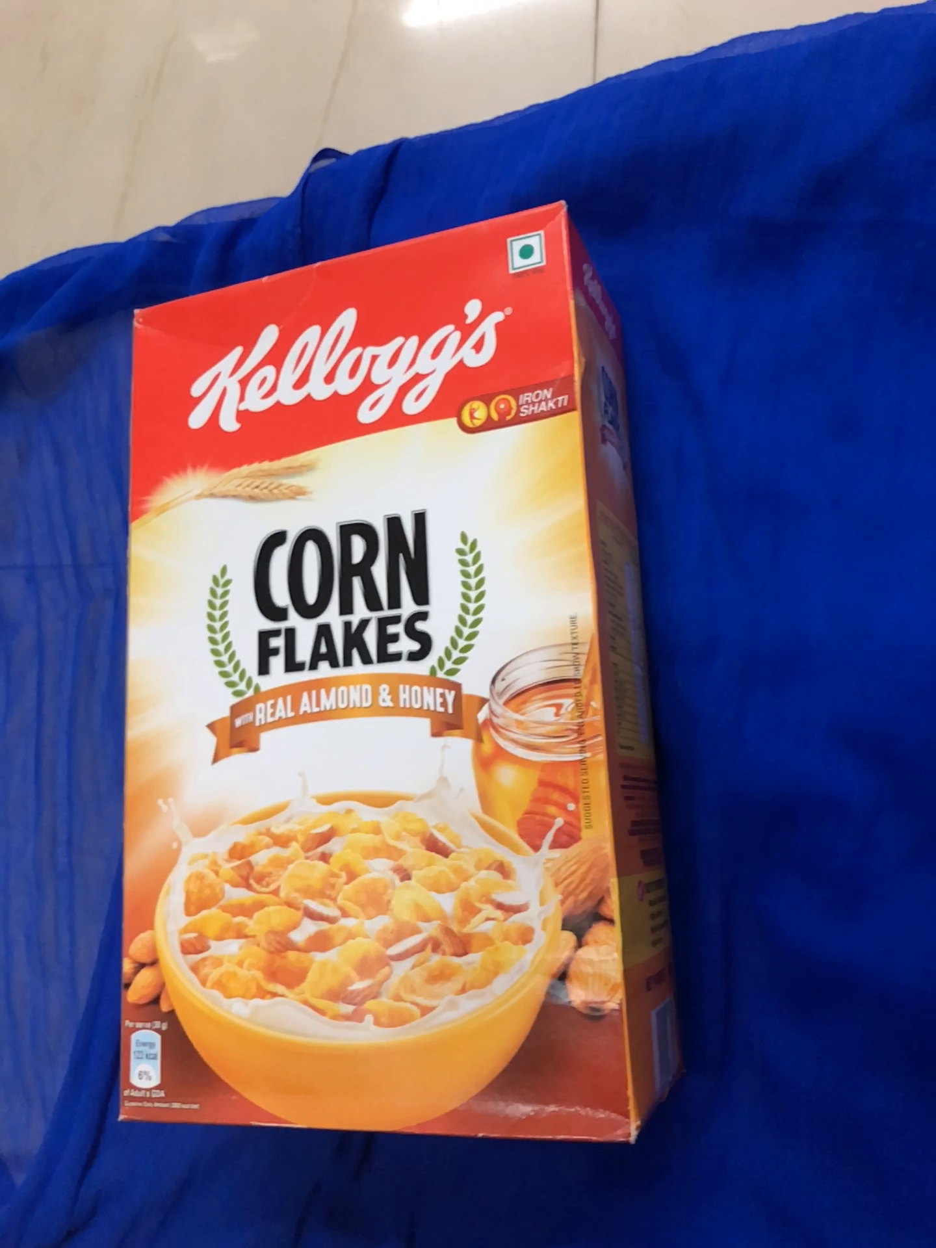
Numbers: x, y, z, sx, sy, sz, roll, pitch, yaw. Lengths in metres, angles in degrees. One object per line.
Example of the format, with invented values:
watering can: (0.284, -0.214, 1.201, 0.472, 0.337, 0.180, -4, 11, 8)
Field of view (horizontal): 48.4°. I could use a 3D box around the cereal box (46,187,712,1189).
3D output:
cereal box: (-0.035, 0.023, 0.385, 0.210, 0.090, 0.300, -6, 79, 19)
